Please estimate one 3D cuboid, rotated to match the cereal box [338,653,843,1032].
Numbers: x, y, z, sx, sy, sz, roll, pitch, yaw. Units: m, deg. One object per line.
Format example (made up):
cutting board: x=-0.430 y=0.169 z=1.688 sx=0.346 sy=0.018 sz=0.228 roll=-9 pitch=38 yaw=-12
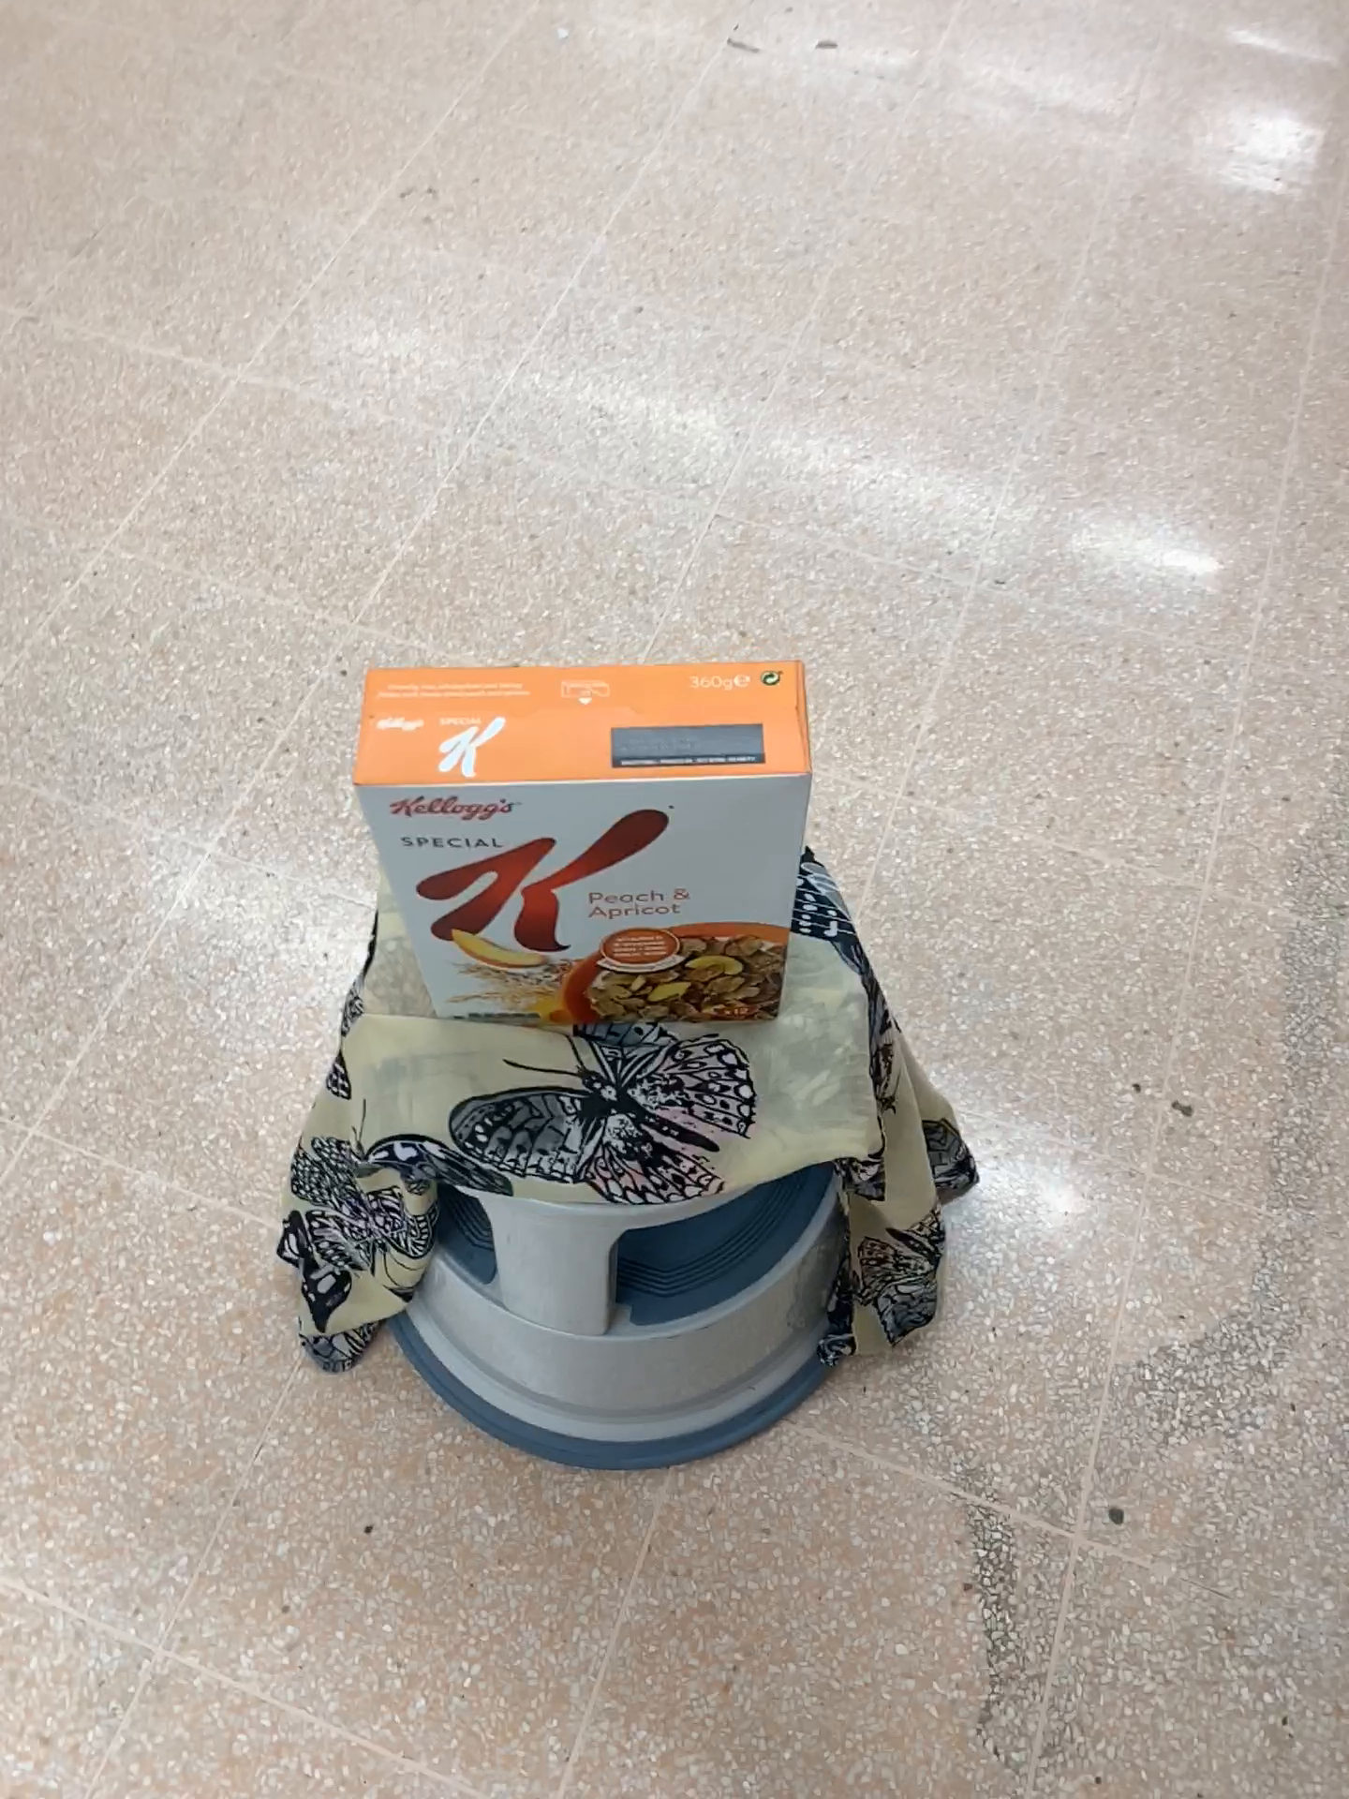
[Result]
cereal box: x=-0.037 y=-0.015 z=0.703 sx=0.210 sy=0.268 sz=0.060 roll=-1 pitch=61 yaw=-1
